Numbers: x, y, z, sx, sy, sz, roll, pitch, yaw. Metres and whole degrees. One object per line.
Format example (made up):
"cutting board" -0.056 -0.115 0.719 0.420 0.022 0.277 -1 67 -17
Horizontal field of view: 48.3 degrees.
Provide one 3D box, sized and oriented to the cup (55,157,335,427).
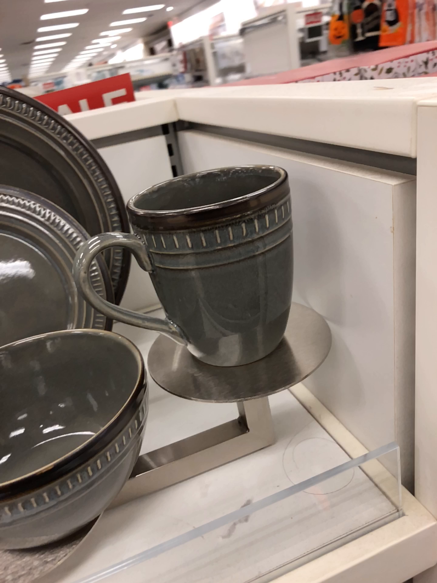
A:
"cup" -0.011 -0.011 0.296 0.126 0.106 0.089 -22 26 -23
